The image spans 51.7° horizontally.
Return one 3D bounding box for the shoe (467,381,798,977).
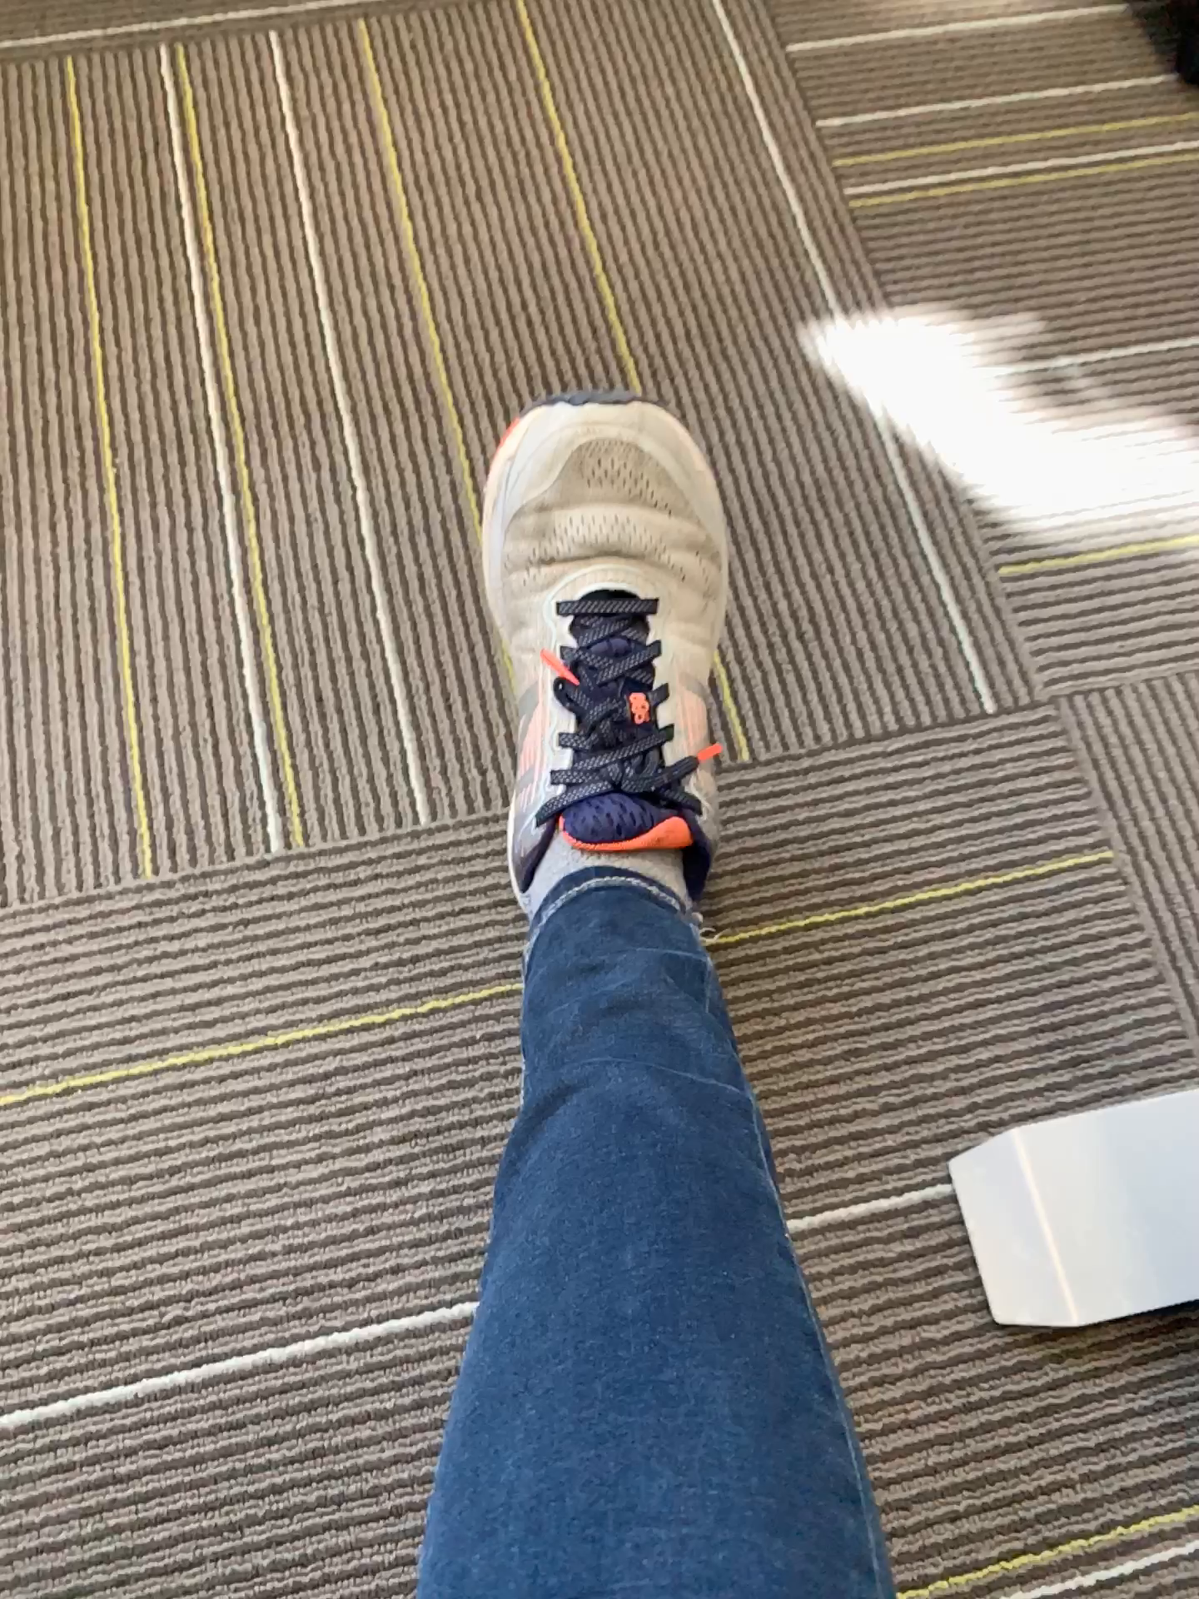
[{"bbox_3d":[0.011,-0.055,0.531,0.120,0.110,0.230,-2,106,-2],"label":"shoe"}]
